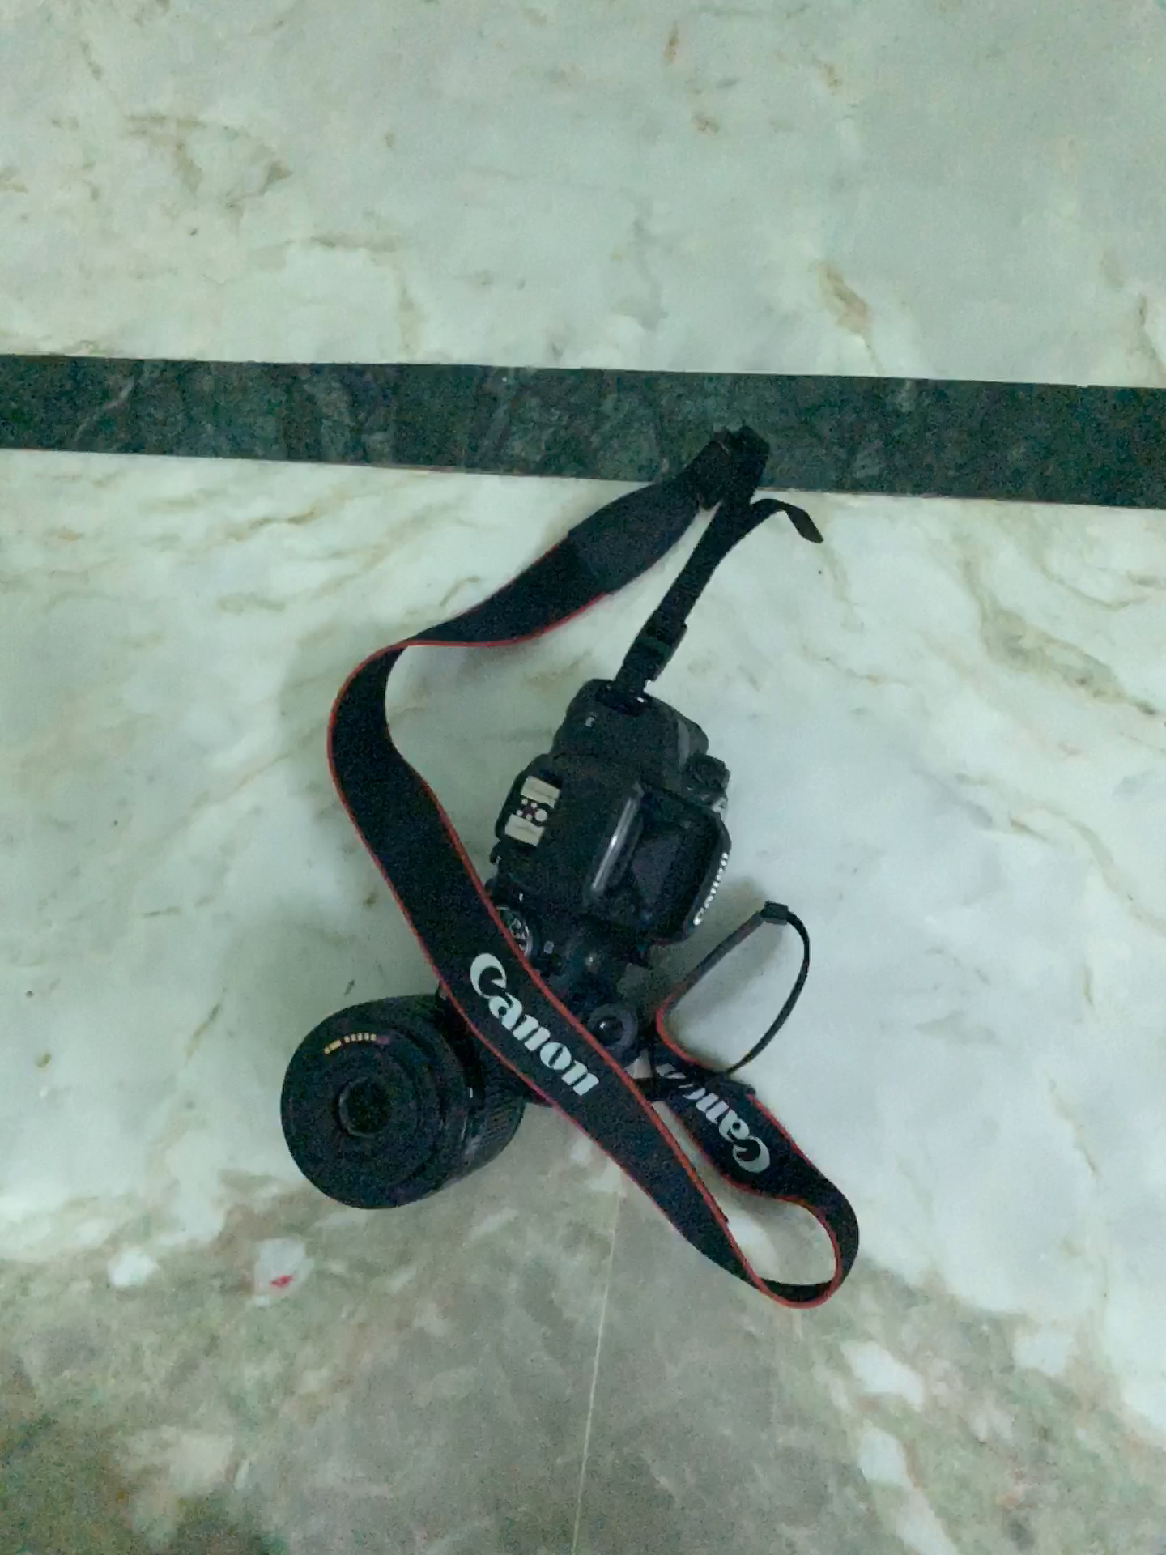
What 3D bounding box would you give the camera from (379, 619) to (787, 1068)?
[{"bbox_3d":[0.005,0.023,0.397,0.082,0.078,0.112,23,87,16],"label":"camera"}]
